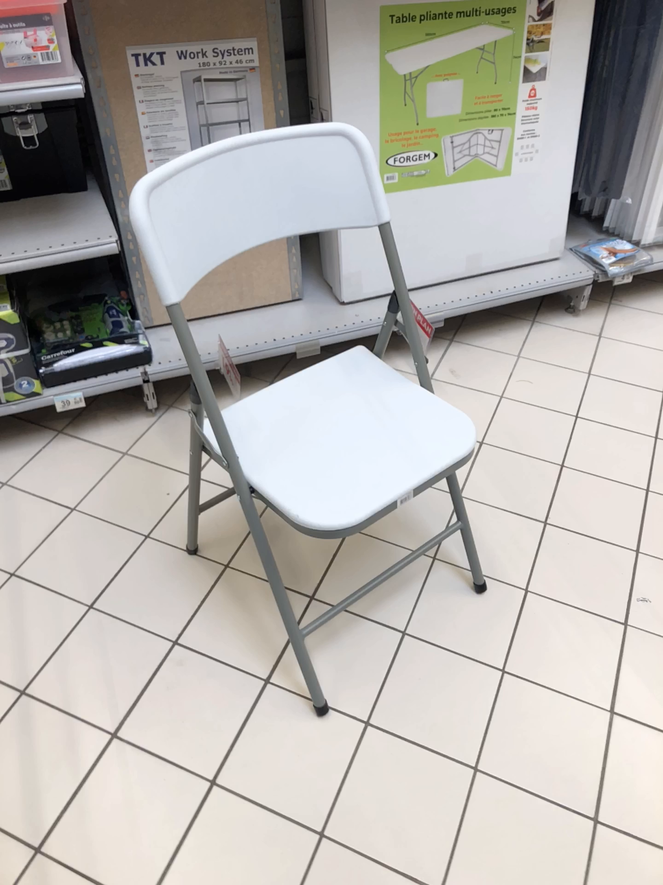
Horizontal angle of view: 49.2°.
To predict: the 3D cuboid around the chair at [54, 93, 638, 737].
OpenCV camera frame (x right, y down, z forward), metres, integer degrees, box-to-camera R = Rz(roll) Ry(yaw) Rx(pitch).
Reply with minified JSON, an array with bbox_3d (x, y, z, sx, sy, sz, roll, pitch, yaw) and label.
[{"bbox_3d":[0.004,-0.061,1.211,0.542,0.746,0.561,-29,50,-28],"label":"chair"}]
